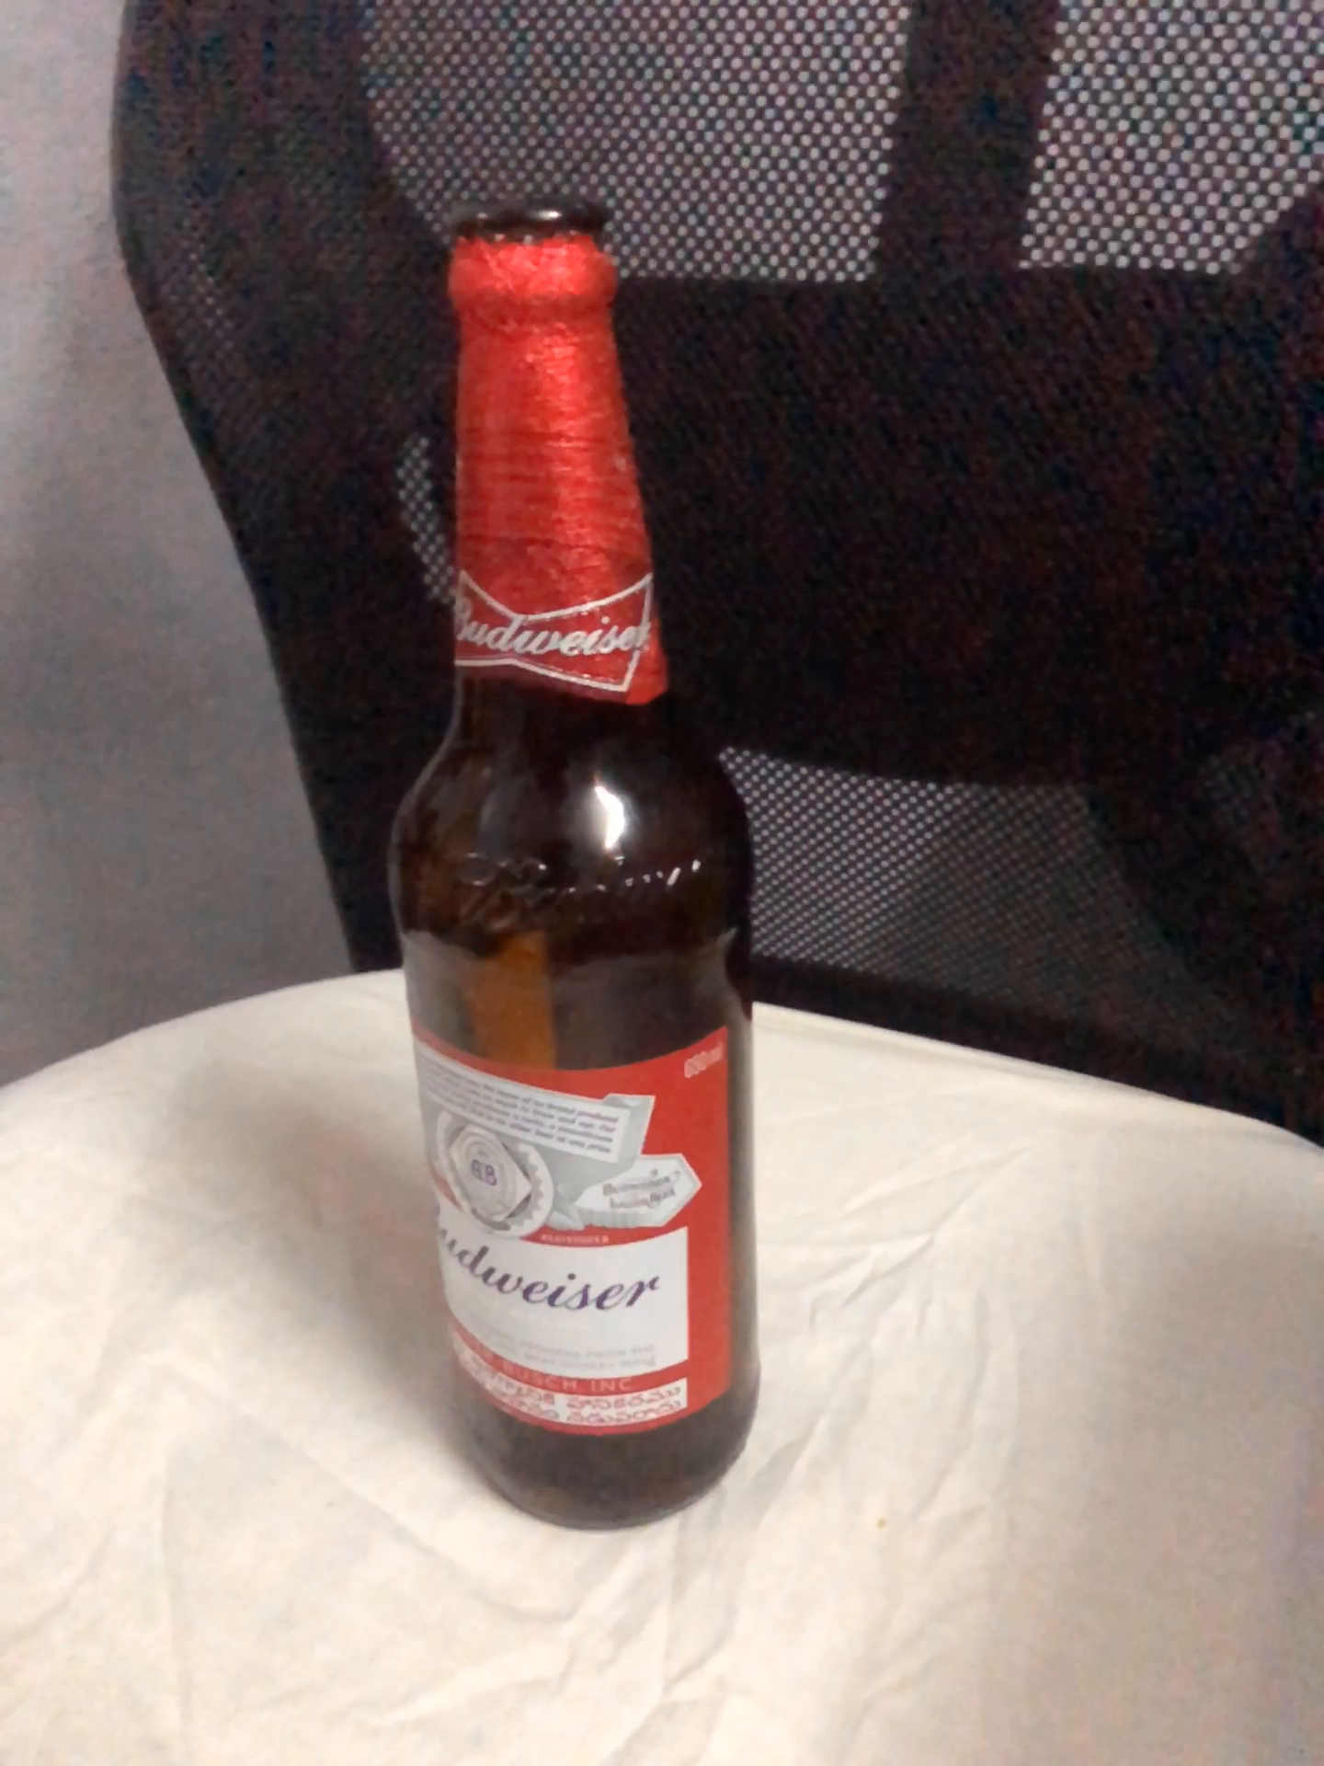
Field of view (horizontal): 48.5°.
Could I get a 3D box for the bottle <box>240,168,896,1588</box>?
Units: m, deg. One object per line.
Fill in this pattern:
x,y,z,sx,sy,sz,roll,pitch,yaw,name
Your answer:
-0.011,0.011,0.302,0.080,0.279,0.070,13,32,24,bottle
